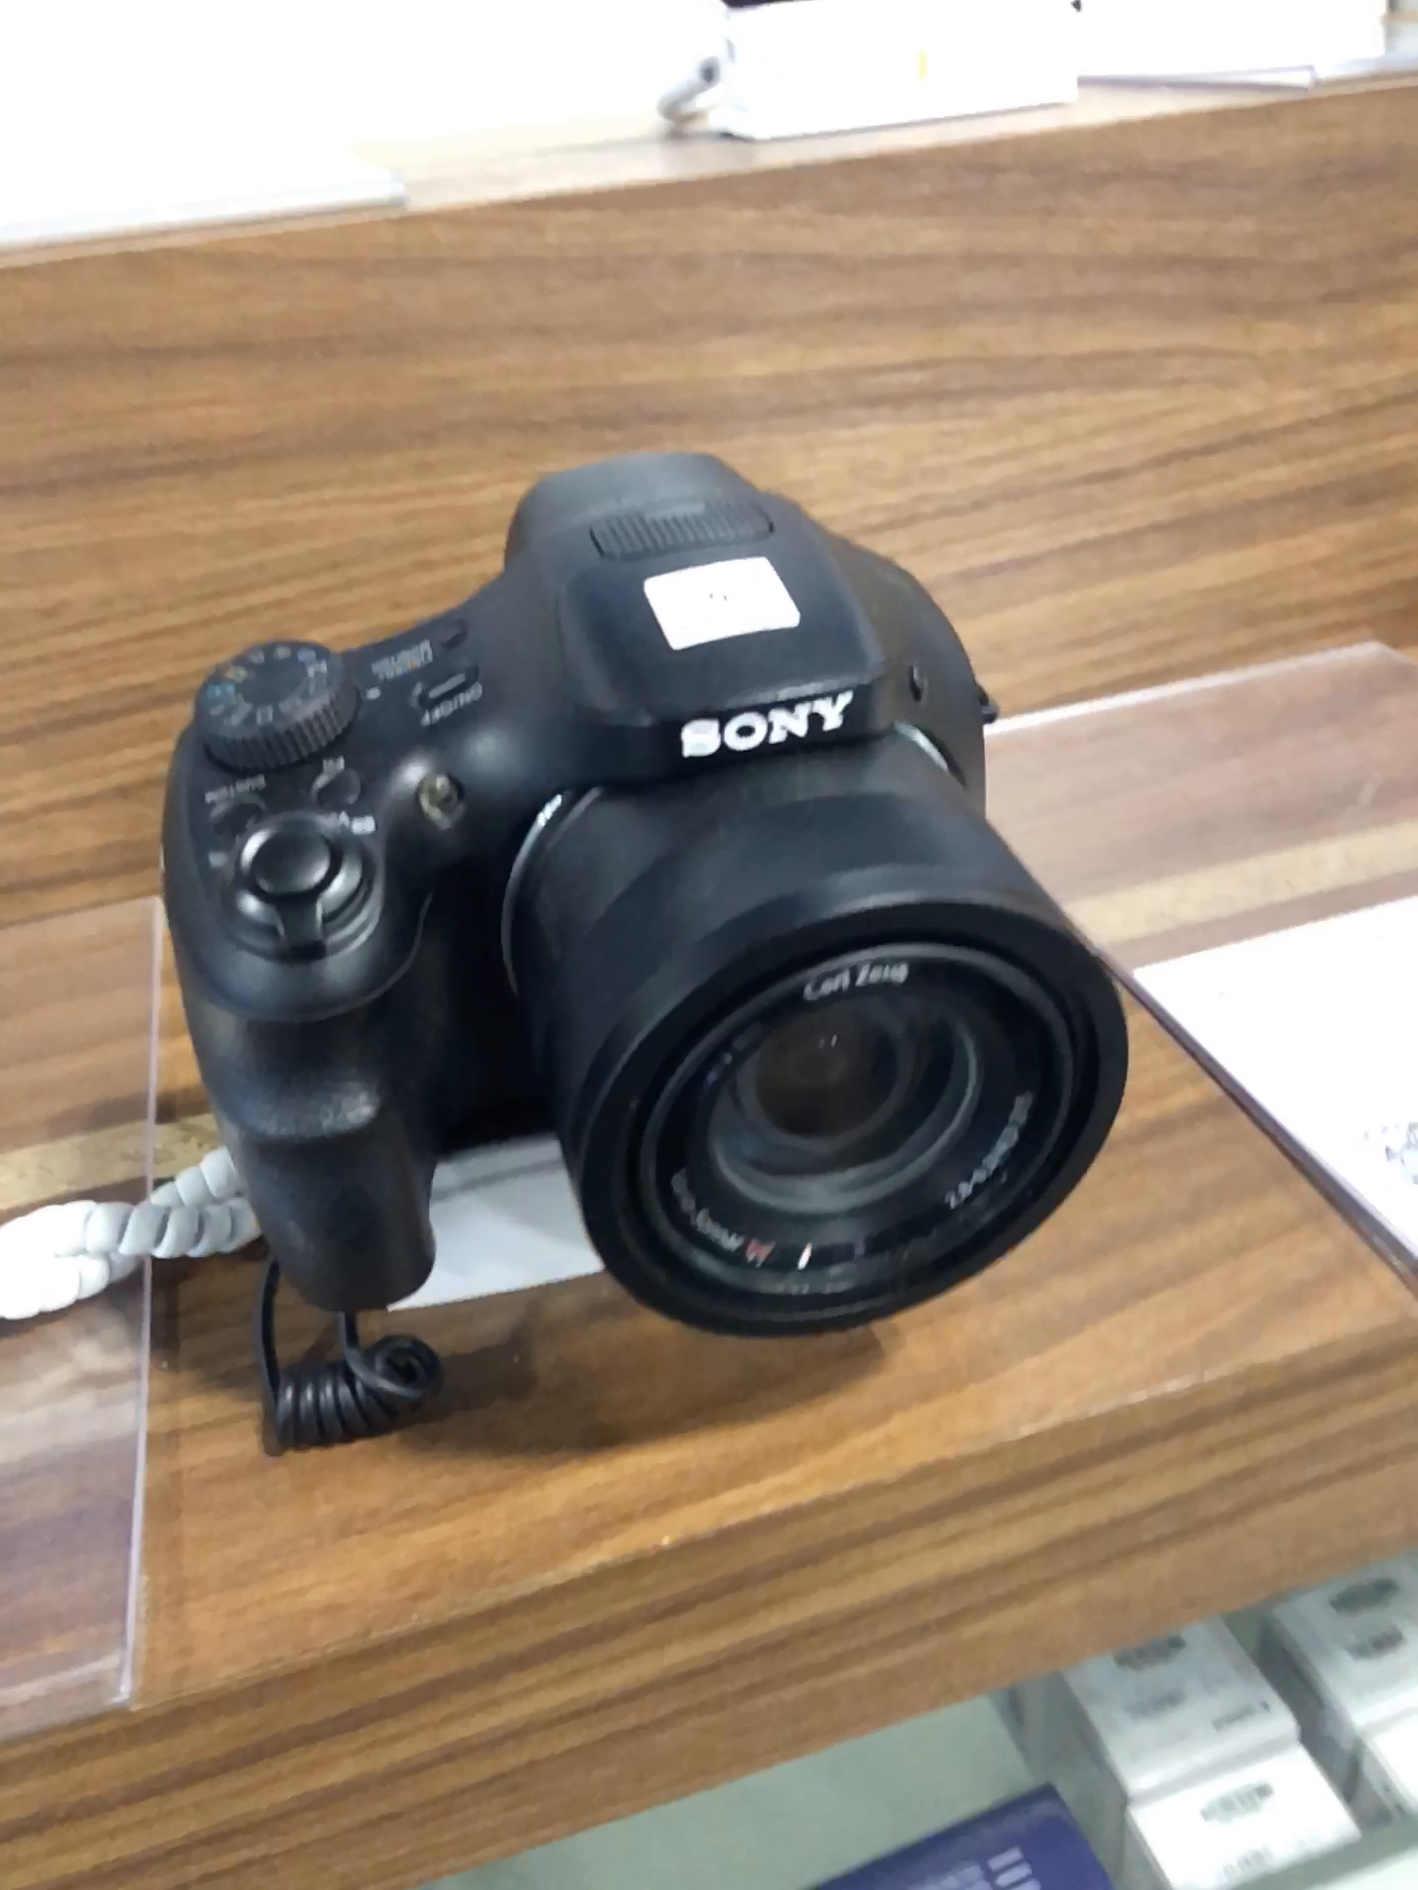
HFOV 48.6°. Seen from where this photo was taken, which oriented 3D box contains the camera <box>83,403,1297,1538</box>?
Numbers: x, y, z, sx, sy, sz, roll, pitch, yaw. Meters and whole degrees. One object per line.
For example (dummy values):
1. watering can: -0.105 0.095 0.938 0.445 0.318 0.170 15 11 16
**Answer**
1. camera: -0.012 -0.008 0.235 0.130 0.089 0.121 -13 38 -11
